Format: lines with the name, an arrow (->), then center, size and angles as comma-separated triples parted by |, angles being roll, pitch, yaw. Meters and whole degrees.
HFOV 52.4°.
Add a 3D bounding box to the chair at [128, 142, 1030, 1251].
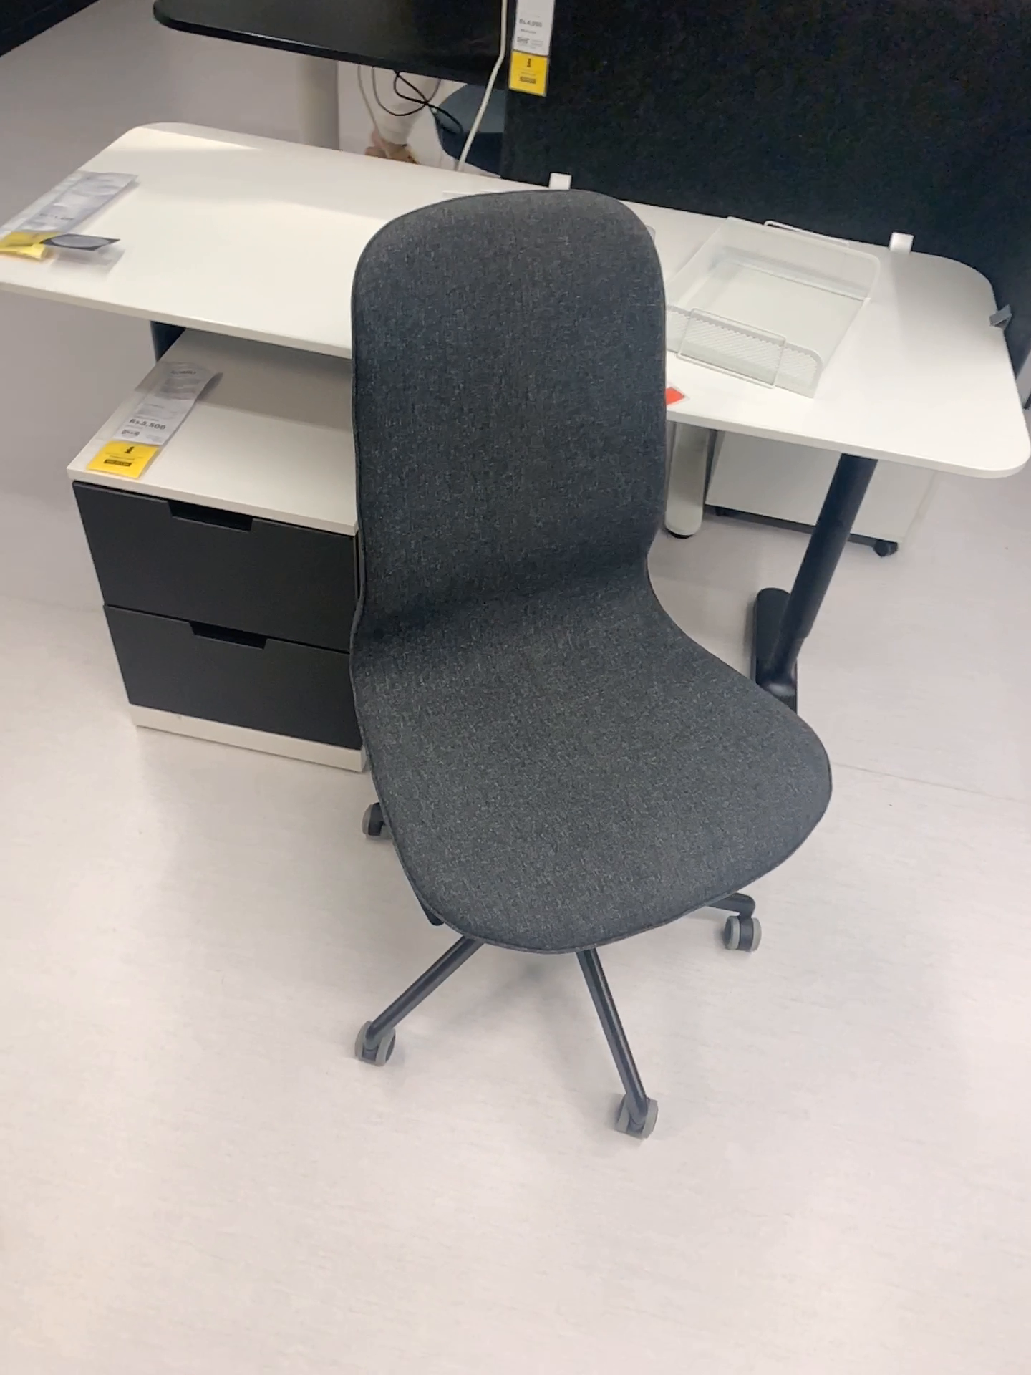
chair -> 0.046, 0.037, 1.233 | 0.631, 0.996, 0.642 | -20, 52, -24
